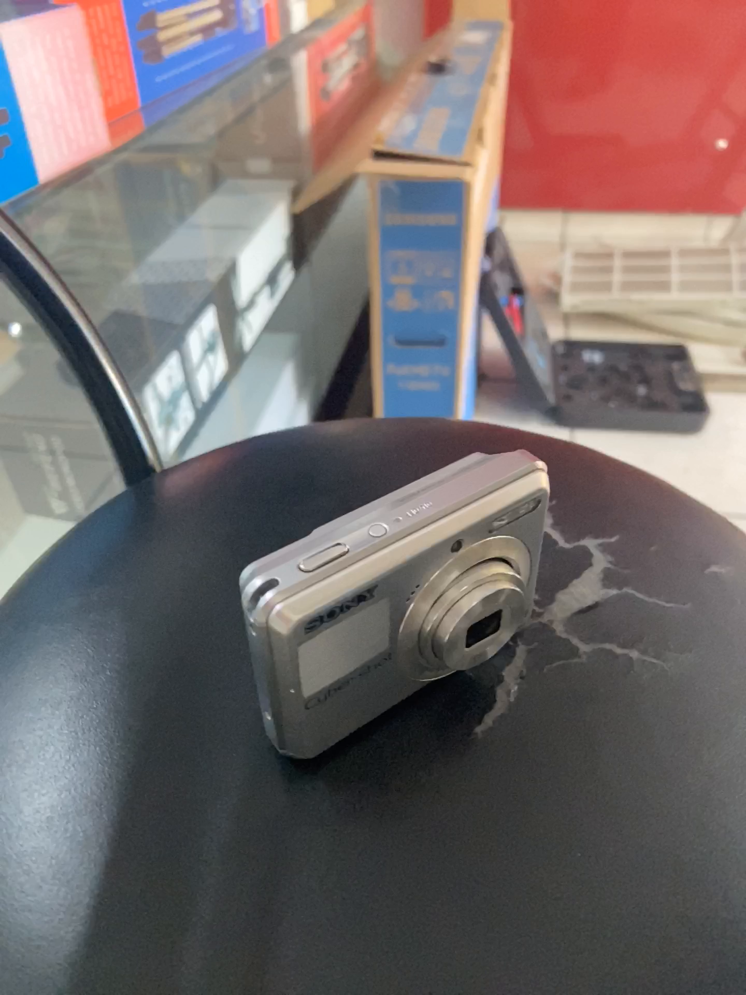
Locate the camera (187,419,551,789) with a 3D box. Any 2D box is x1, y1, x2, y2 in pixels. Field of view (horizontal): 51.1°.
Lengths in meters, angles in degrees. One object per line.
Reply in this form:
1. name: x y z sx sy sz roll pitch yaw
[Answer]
1. camera: 0.001 0.025 0.206 0.083 0.057 0.035 -25 44 -27
